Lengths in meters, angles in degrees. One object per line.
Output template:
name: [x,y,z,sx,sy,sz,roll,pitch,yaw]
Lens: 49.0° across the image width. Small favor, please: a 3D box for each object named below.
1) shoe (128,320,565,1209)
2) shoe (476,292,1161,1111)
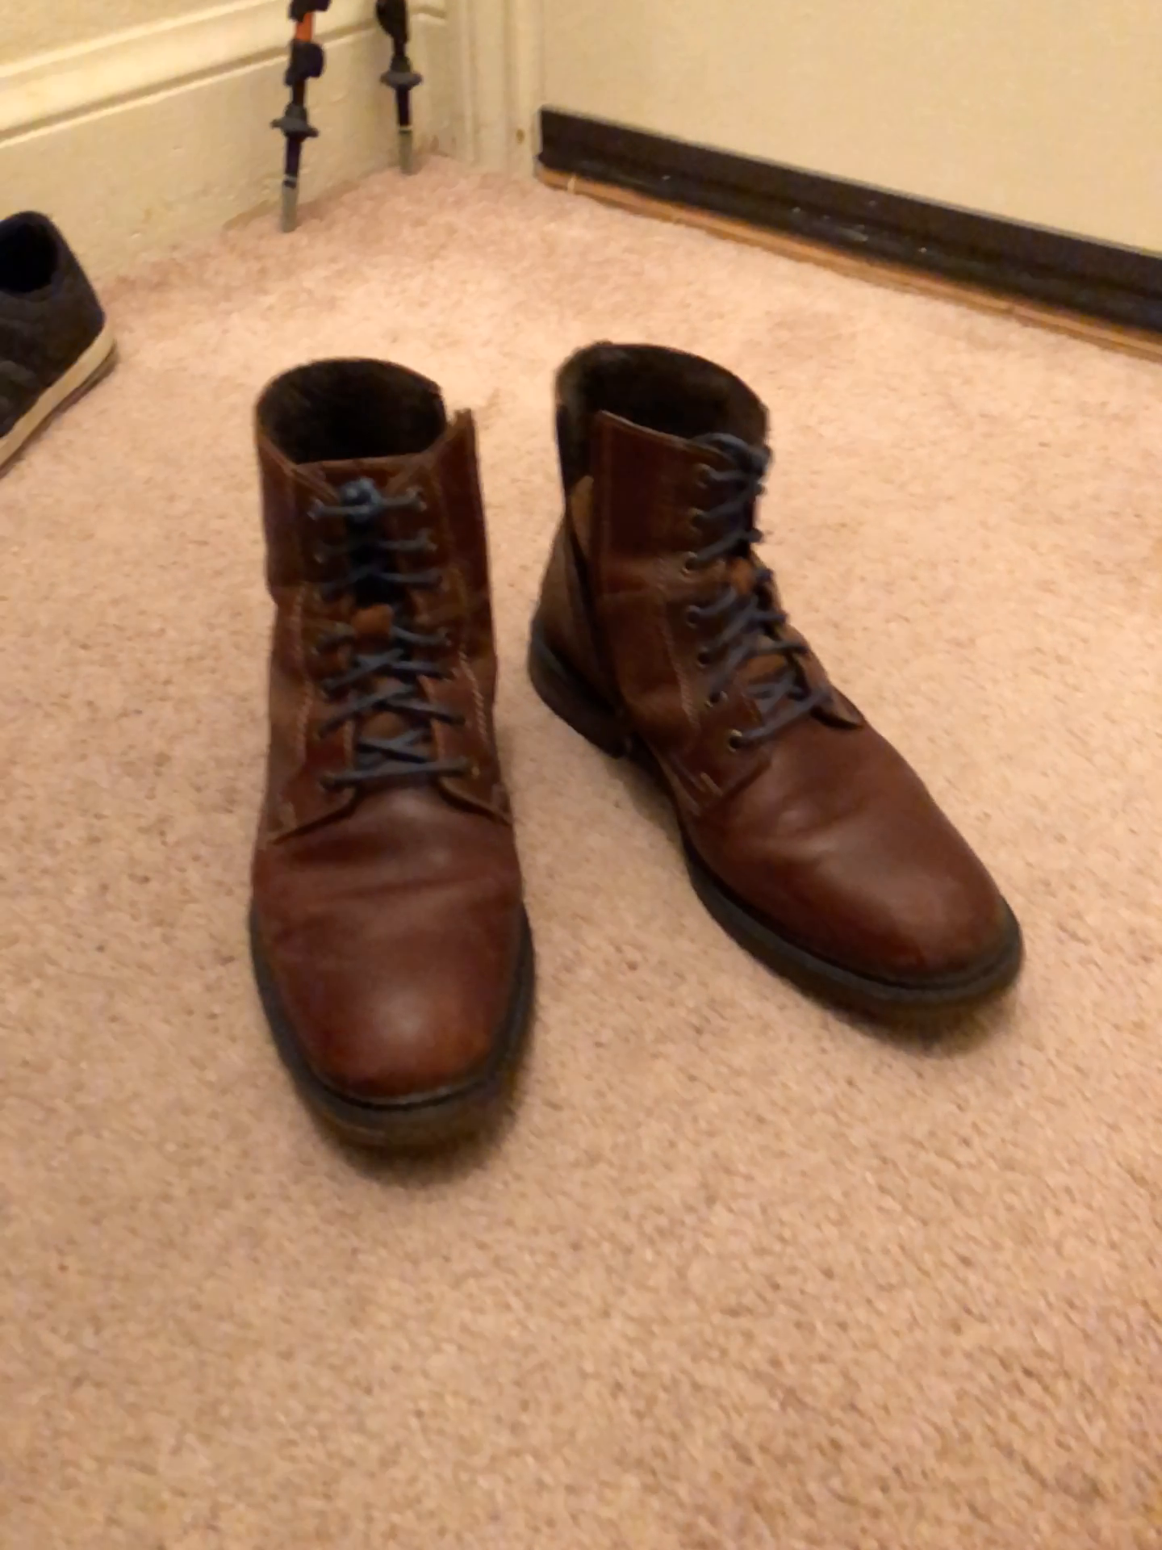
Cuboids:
shoe: [-0.081,-0.025,0.504,0.113,0.172,0.317,-5,45,-6]
shoe: [0.075,-0.048,0.529,0.110,0.172,0.302,-21,48,-21]
